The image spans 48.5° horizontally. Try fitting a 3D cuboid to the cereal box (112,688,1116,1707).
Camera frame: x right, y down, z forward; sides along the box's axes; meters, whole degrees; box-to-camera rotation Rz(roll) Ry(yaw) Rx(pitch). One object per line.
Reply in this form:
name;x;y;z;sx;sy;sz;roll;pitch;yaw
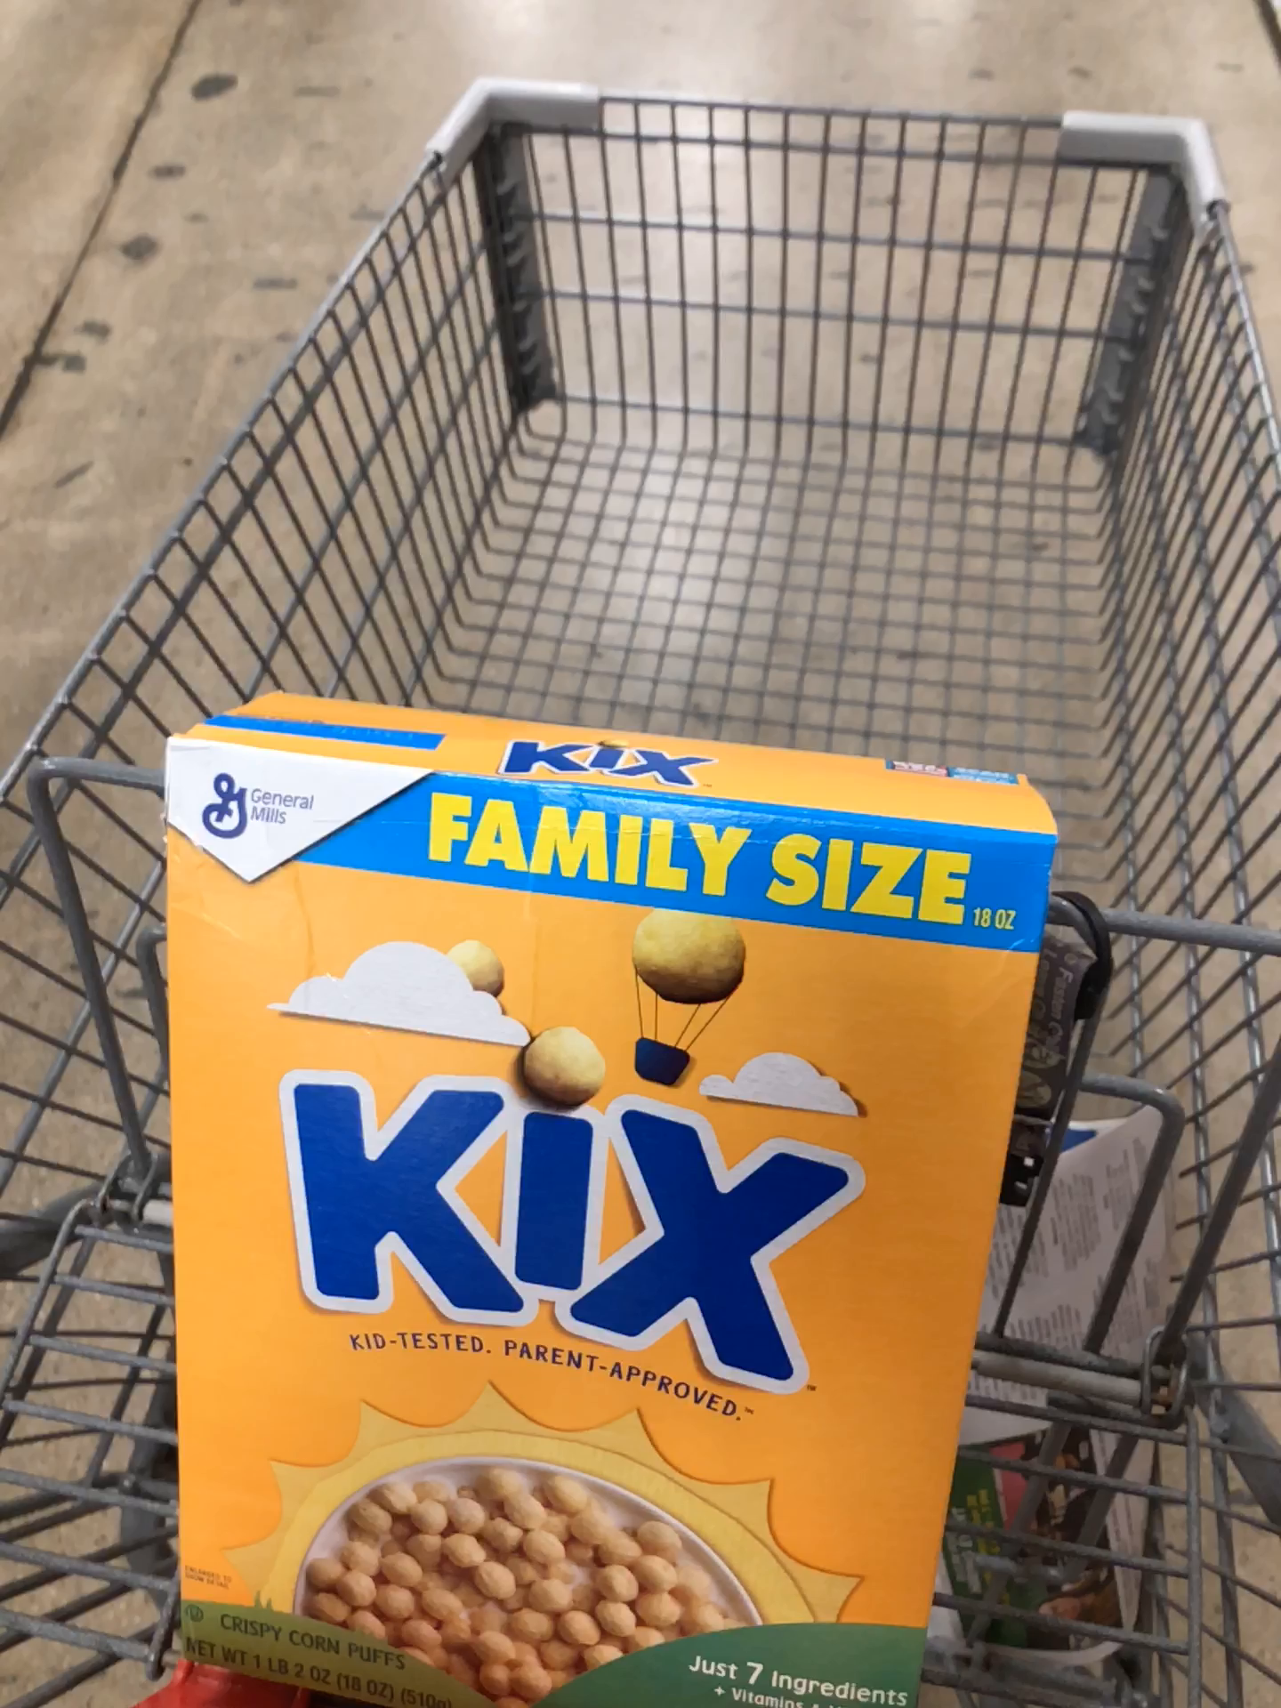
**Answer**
cereal box;-0.020;0.126;0.439;0.260;0.320;0.070;7;17;8
